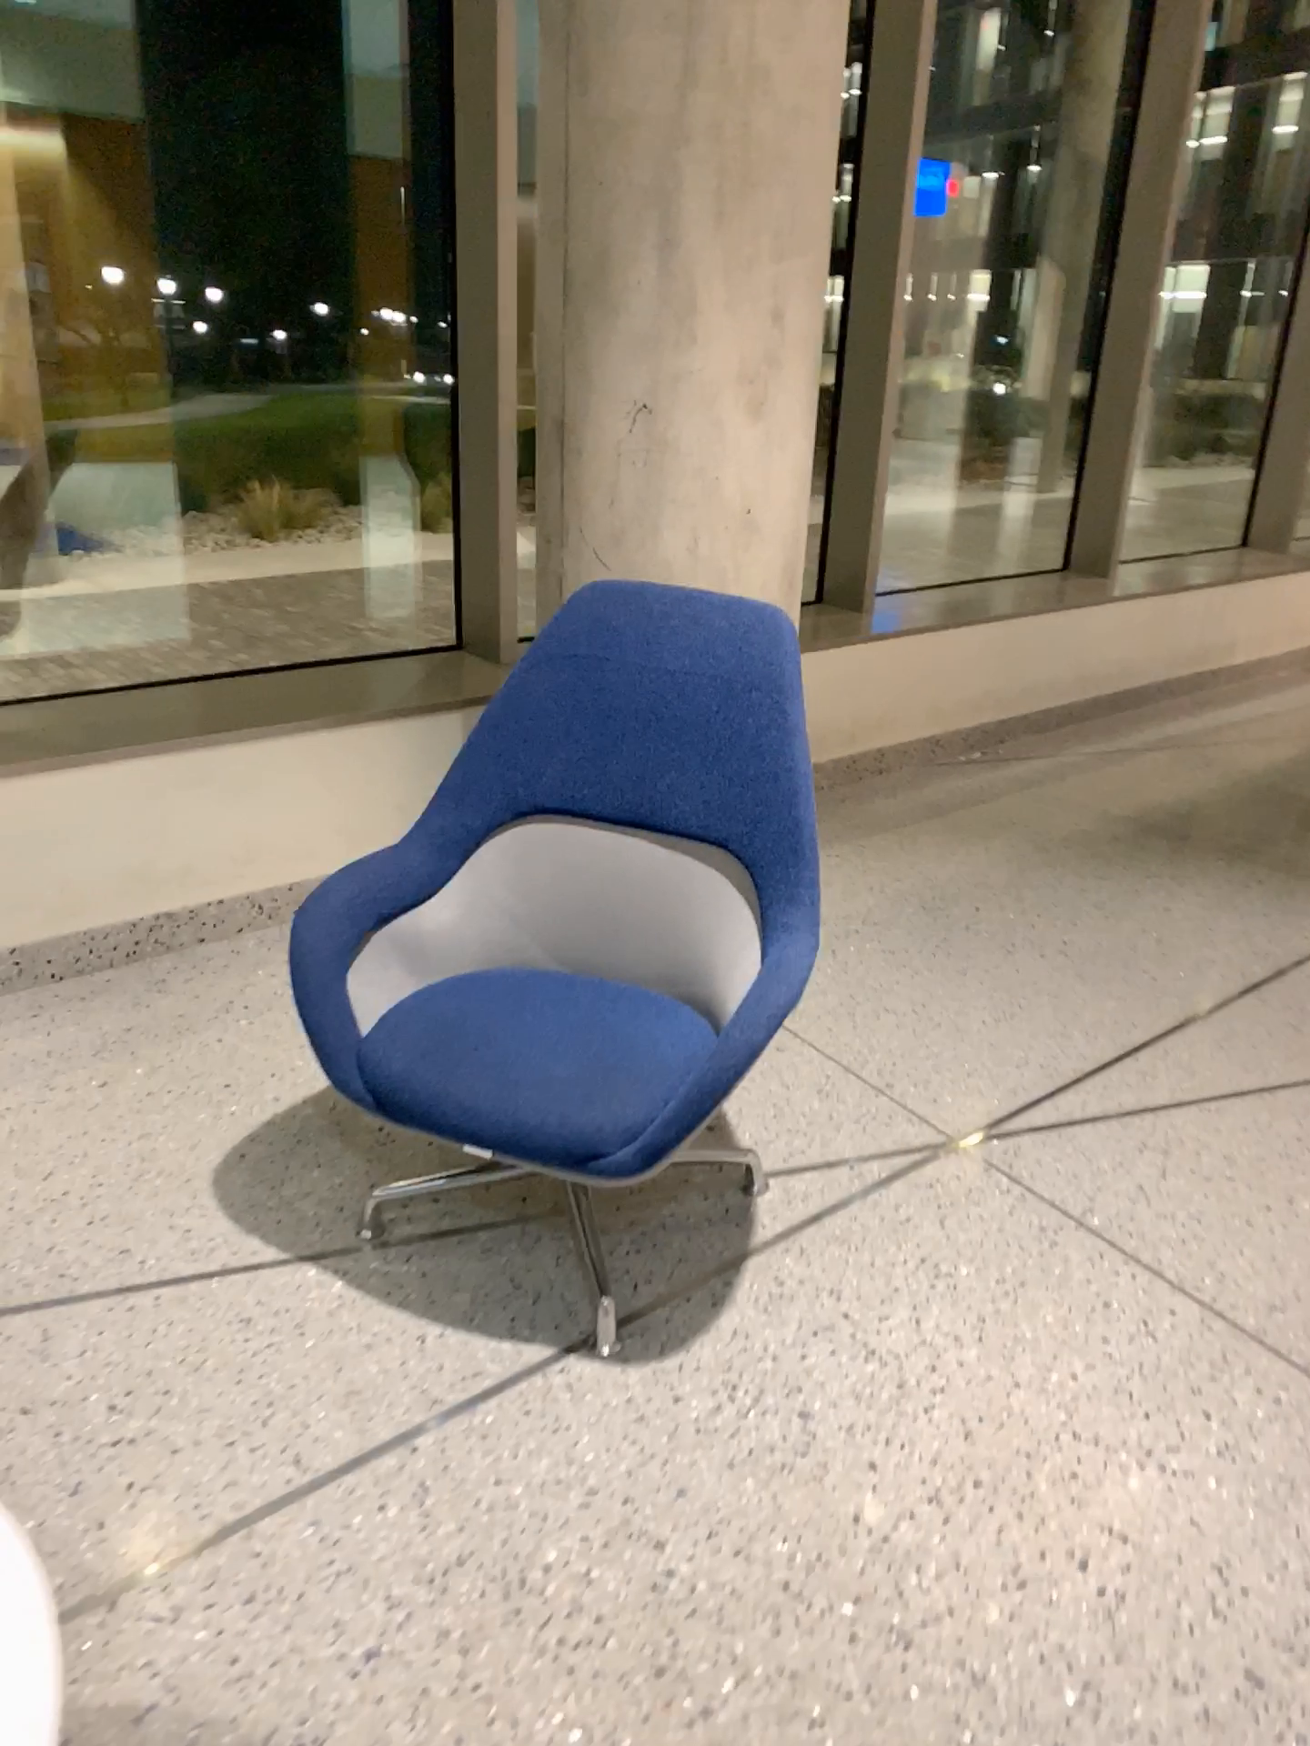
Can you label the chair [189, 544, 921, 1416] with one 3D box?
[{"bbox_3d":[-0.132,0.083,2.044,0.815,0.997,0.635,12,23,23],"label":"chair"}]
